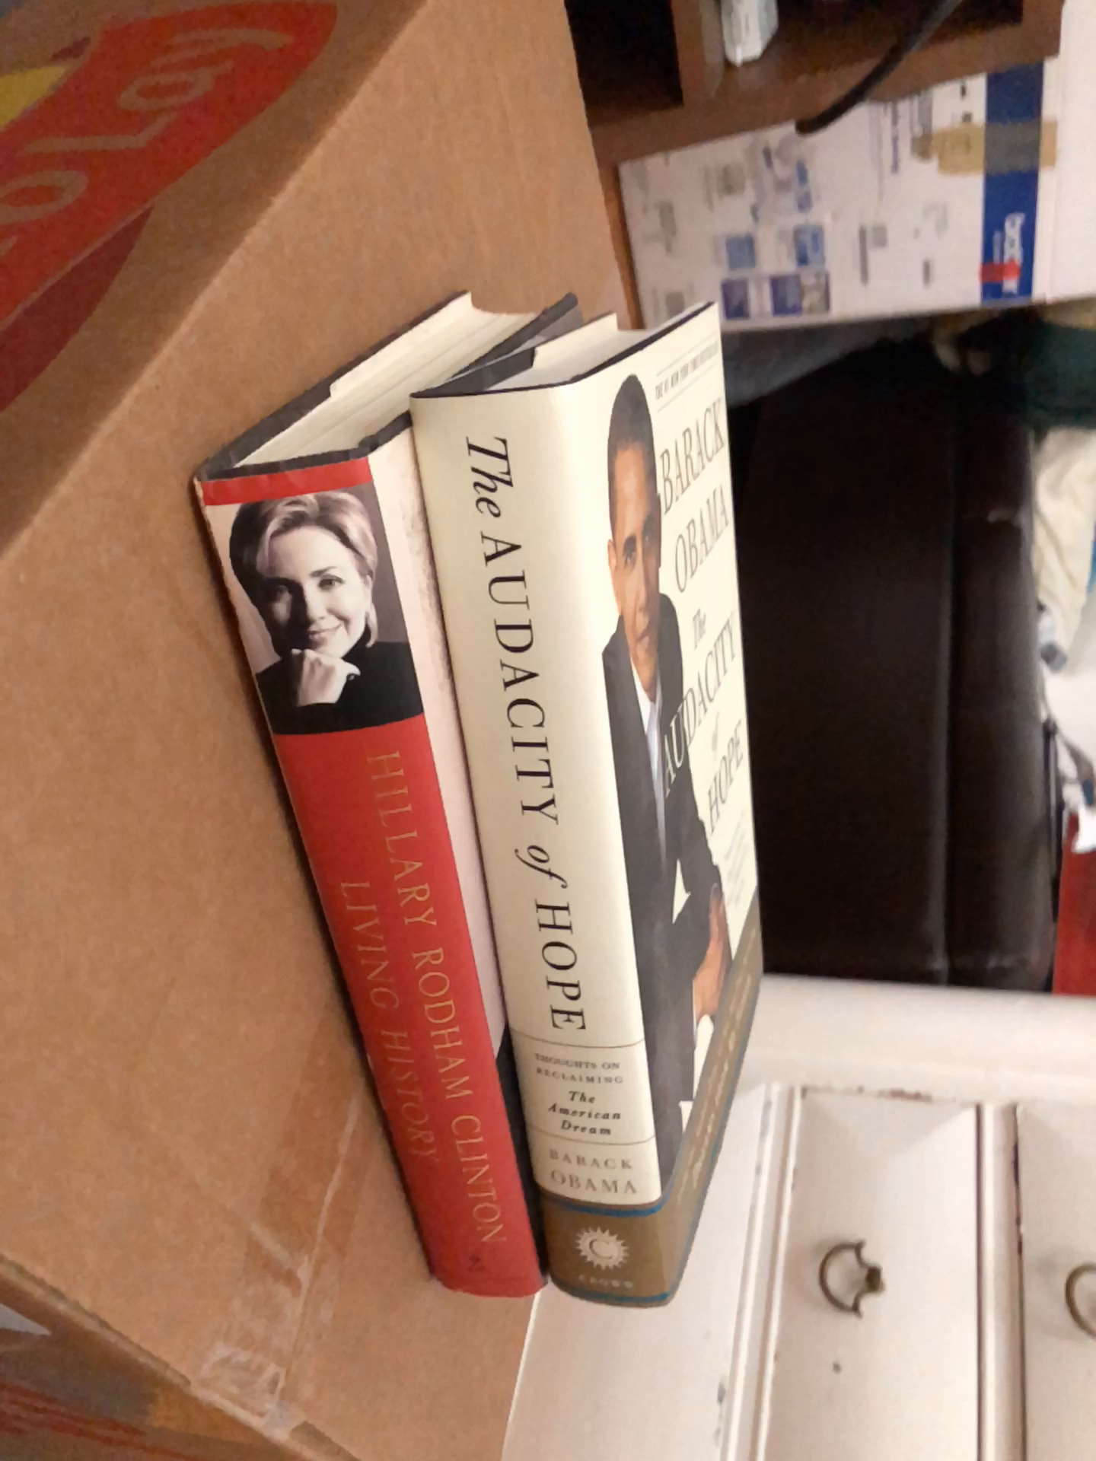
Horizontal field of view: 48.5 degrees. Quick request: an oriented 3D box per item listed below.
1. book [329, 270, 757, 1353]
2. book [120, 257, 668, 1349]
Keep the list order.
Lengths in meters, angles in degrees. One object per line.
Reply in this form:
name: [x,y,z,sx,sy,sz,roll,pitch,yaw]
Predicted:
book: [0.021,0.008,0.355,0.191,0.040,0.250,-55,142,-60]
book: [-0.015,0.016,0.343,0.171,0.040,0.250,-62,147,-55]
